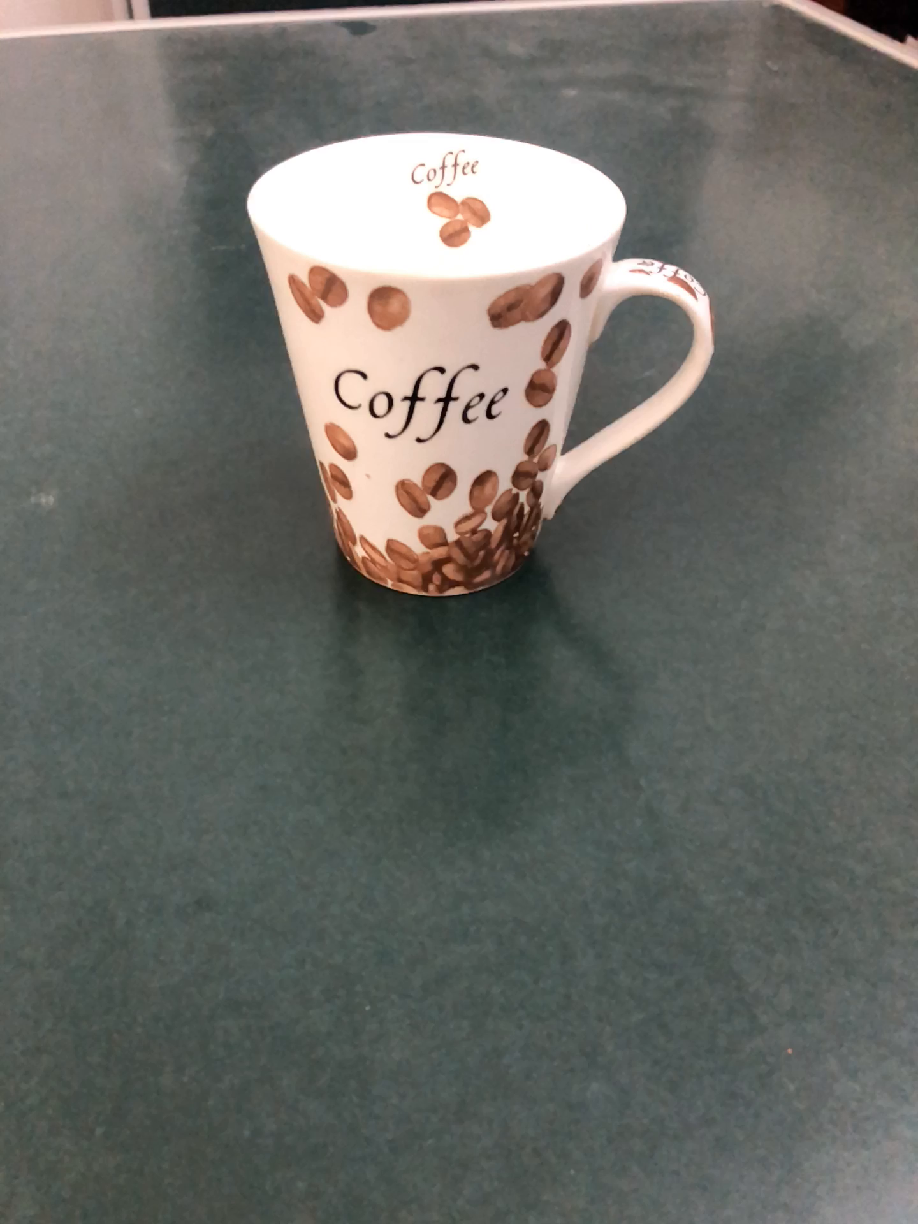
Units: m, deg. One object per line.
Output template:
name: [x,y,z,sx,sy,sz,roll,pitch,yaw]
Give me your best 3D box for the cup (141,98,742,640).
cup: [0.003,-0.067,0.267,0.120,0.090,0.100,7,43,8]
